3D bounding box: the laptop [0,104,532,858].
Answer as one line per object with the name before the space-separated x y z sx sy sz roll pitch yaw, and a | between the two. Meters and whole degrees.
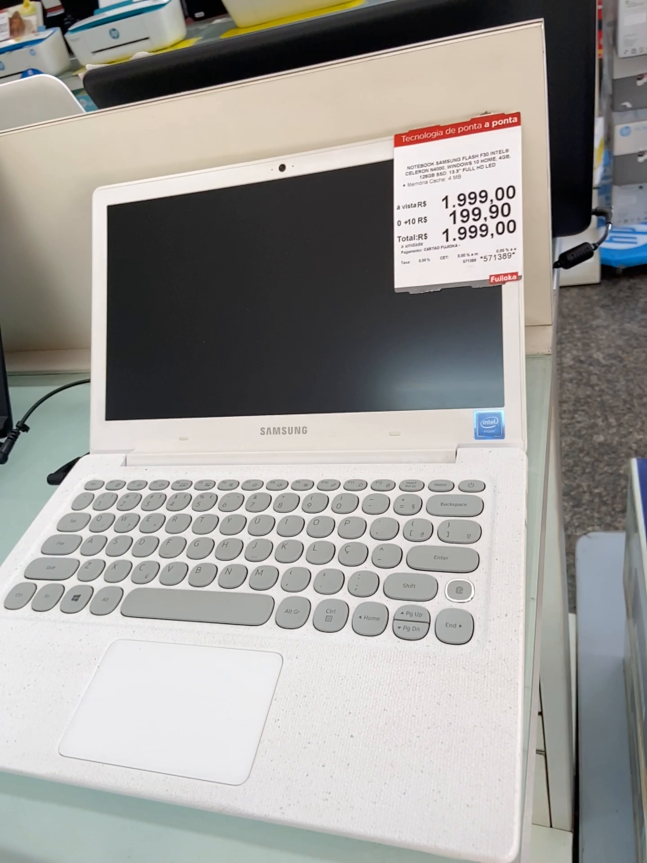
laptop | -0.054 -0.019 0.374 0.314 0.140 0.362 -2 42 20
